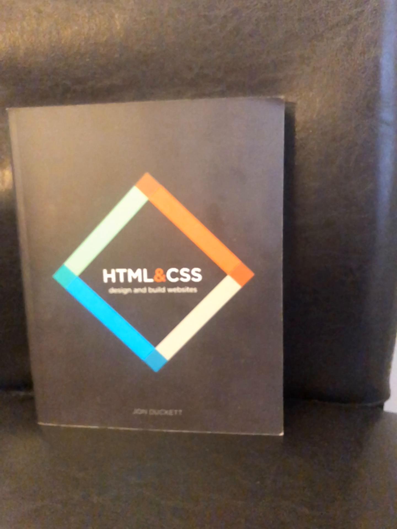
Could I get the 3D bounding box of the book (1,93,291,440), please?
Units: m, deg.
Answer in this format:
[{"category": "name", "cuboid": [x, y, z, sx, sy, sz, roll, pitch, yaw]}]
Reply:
[{"category": "book", "cuboid": [-0.031, 0.007, 0.318, 0.188, 0.231, 0.030, -1, 10, 7]}]
